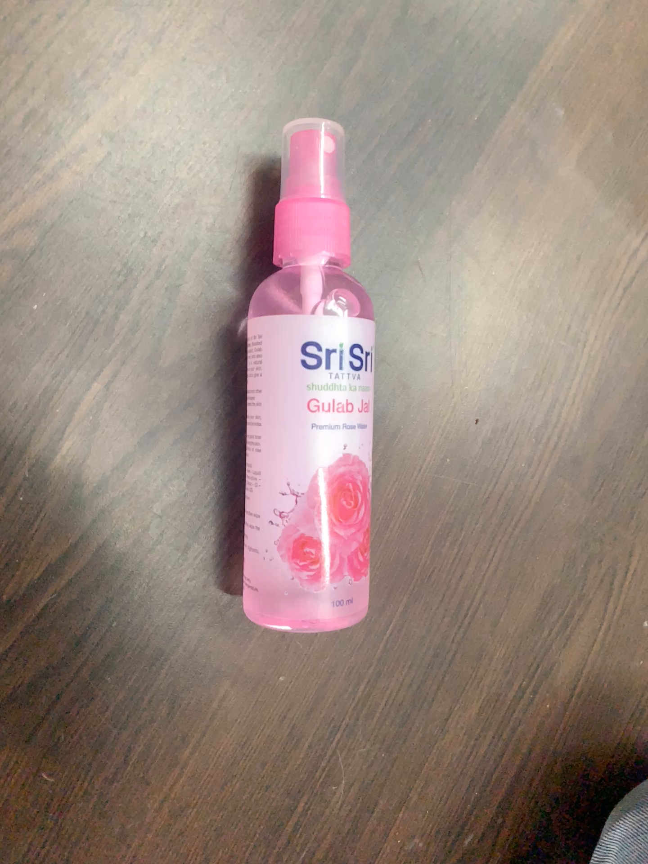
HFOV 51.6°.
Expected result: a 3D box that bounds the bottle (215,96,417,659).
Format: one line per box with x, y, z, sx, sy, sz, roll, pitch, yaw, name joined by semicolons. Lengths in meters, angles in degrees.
-0.004;-0.013;0.194;0.040;0.040;0.140;1;93;-25;bottle
